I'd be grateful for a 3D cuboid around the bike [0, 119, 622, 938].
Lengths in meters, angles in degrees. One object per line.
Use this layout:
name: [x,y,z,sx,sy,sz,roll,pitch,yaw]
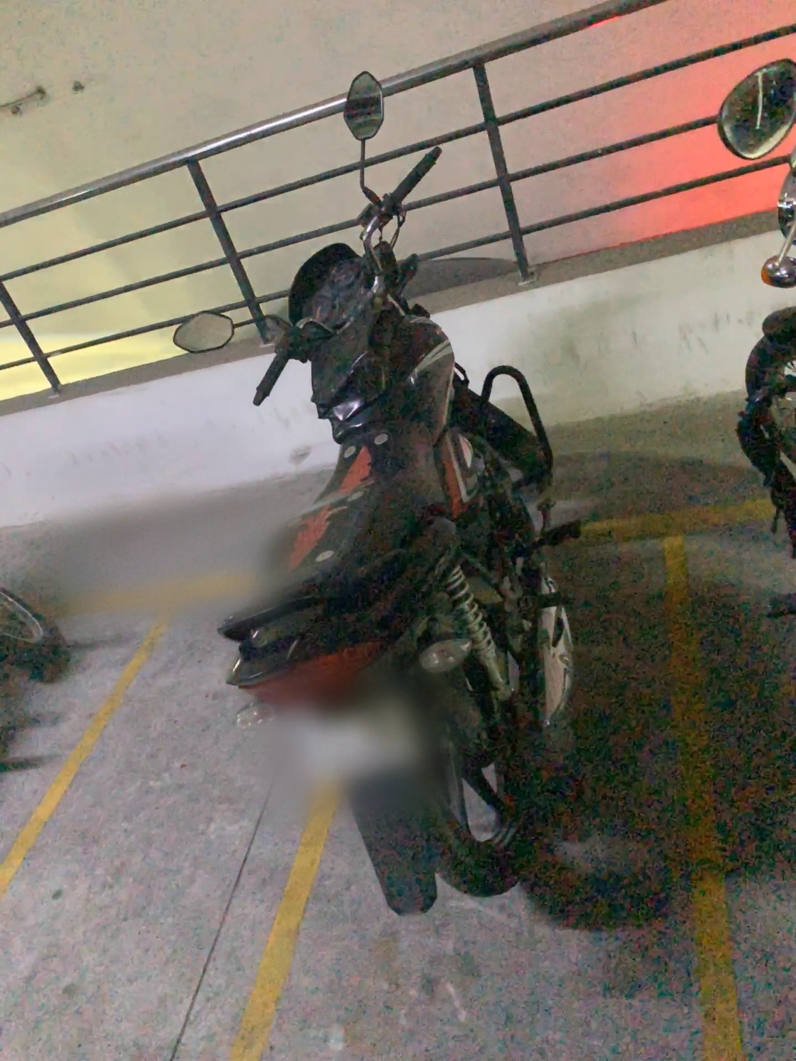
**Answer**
bike: [-0.163,-0.174,1.931,0.755,1.067,1.685,-15,33,9]
